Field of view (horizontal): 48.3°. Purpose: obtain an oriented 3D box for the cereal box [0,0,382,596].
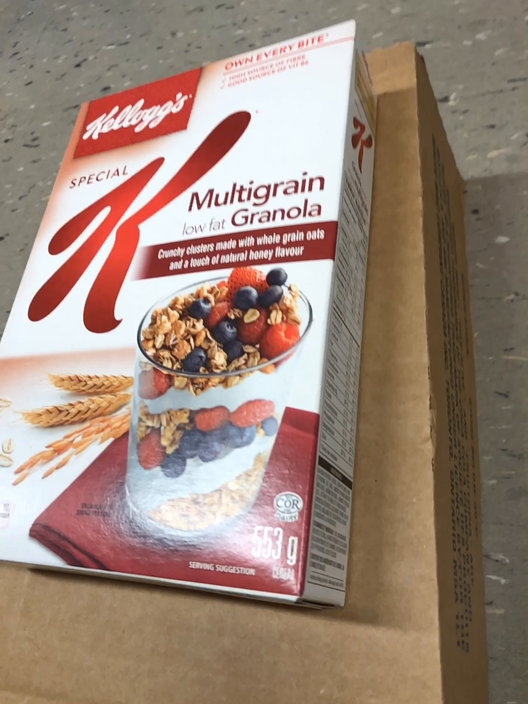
[{"bbox_3d":[-0.039,-0.040,0.278,0.180,0.050,0.270,-3,61,18],"label":"cereal box"}]
